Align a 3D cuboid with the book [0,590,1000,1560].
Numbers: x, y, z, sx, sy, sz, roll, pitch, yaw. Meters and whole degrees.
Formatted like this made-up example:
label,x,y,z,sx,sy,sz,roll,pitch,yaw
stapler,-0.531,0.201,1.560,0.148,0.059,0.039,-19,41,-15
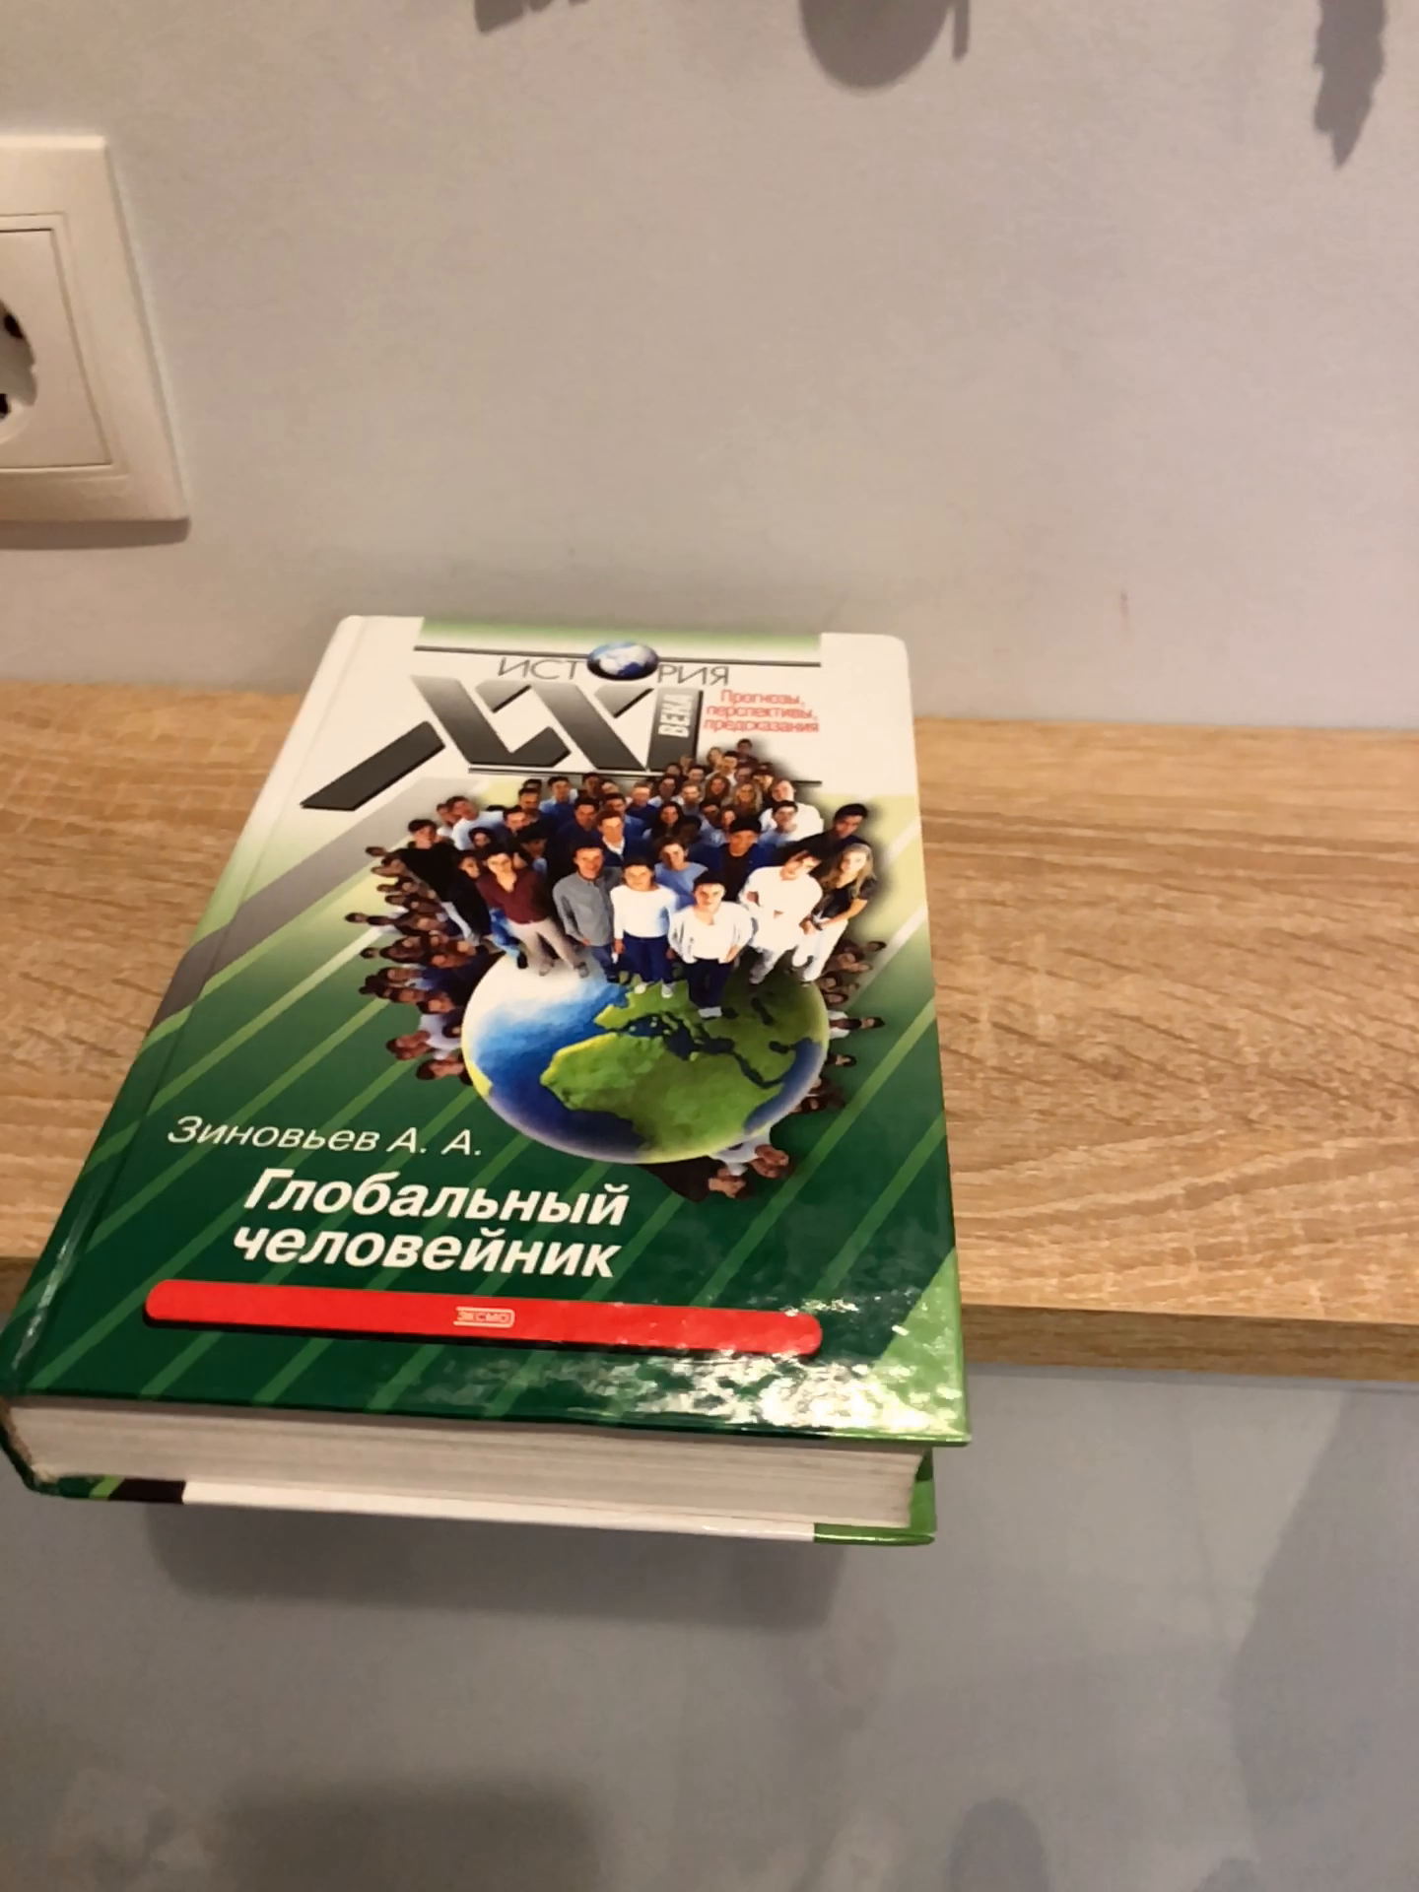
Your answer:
label,x,y,z,sx,sy,sz,roll,pitch,yaw
book,-0.028,-0.001,0.287,0.140,0.020,0.222,3,40,2
